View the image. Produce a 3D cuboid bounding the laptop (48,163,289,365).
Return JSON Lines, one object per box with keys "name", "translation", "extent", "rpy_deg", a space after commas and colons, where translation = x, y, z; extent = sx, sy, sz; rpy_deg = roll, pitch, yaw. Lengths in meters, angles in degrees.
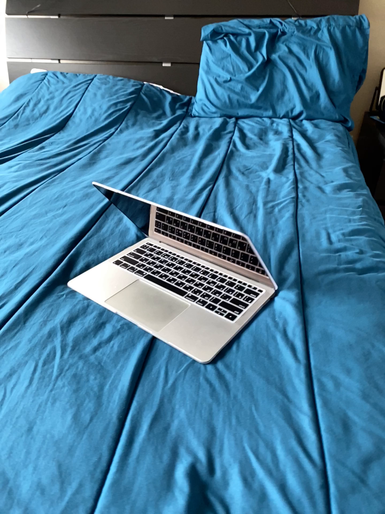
{"name": "laptop", "translation": [-0.036, -0.017, 0.634], "extent": [0.296, 0.161, 0.216], "rpy_deg": [22, 38, 31]}
